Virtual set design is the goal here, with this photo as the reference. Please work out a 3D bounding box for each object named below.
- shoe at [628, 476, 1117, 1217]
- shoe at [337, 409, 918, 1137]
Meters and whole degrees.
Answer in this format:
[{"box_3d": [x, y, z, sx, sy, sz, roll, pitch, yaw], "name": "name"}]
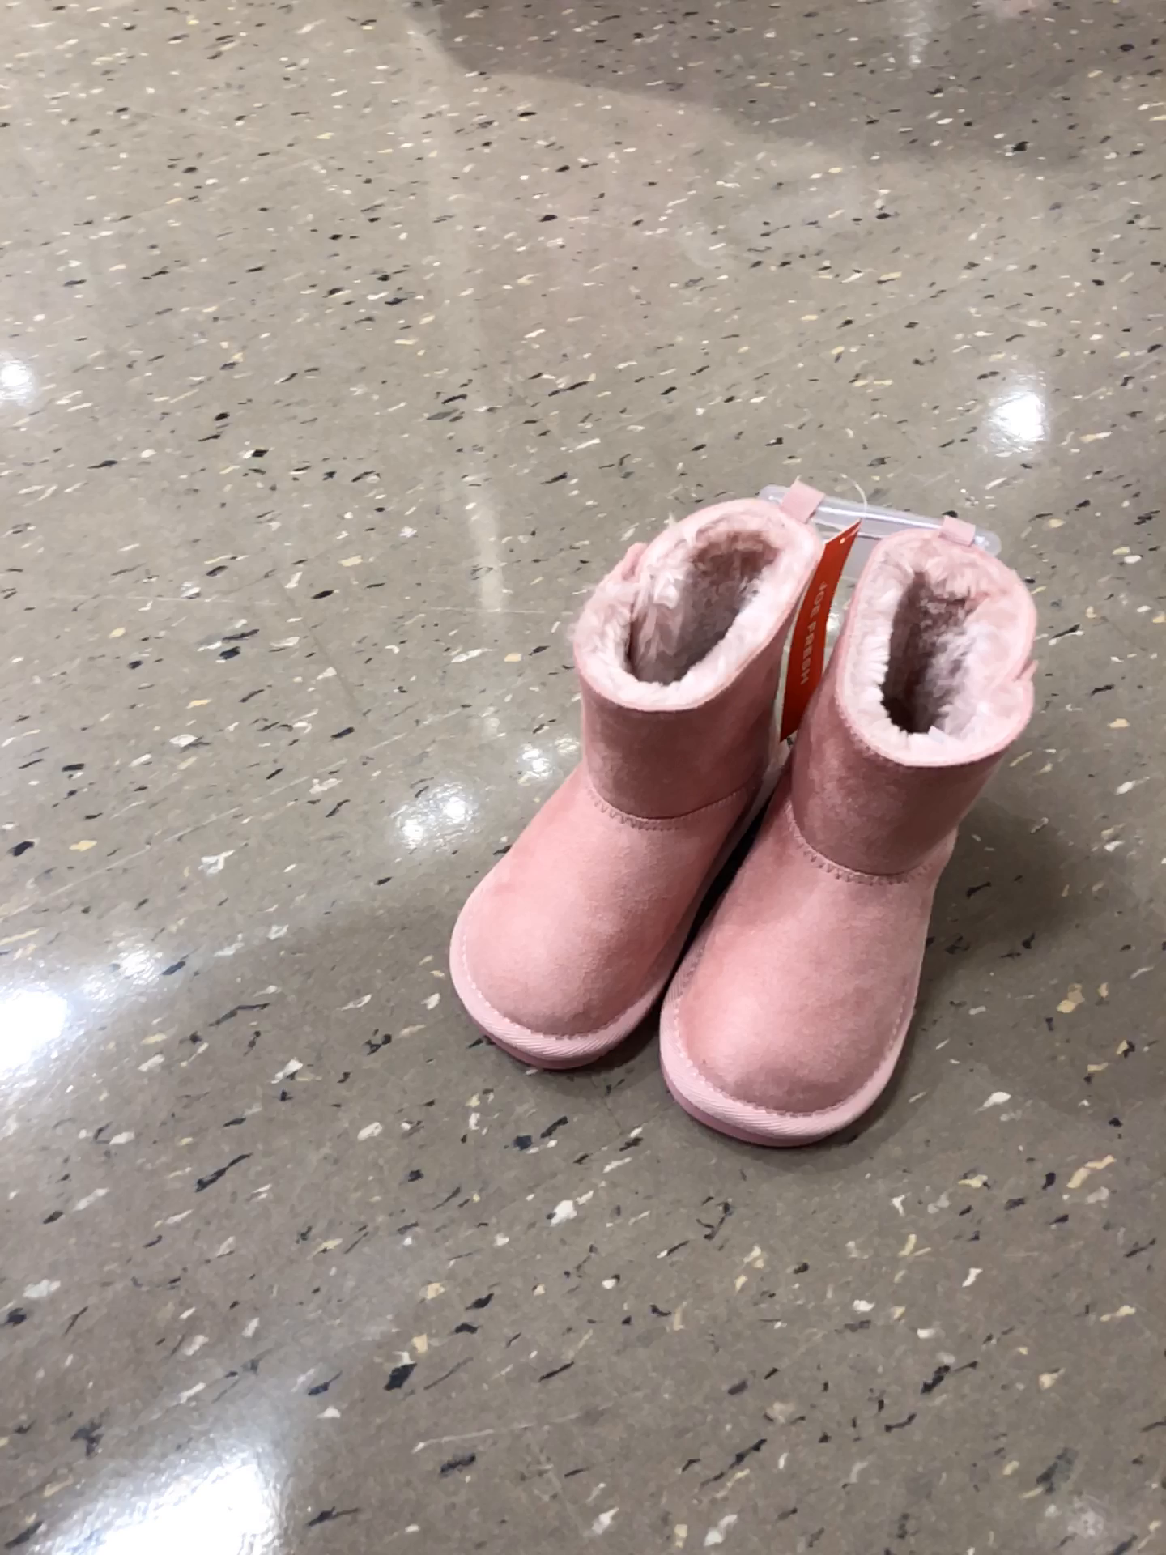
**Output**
[{"box_3d": [0.085, 0.025, 0.405, 0.090, 0.150, 0.160, 18, 58, 12], "name": "shoe"}, {"box_3d": [0.018, 0.001, 0.417, 0.090, 0.150, 0.160, 28, 60, 18], "name": "shoe"}]
